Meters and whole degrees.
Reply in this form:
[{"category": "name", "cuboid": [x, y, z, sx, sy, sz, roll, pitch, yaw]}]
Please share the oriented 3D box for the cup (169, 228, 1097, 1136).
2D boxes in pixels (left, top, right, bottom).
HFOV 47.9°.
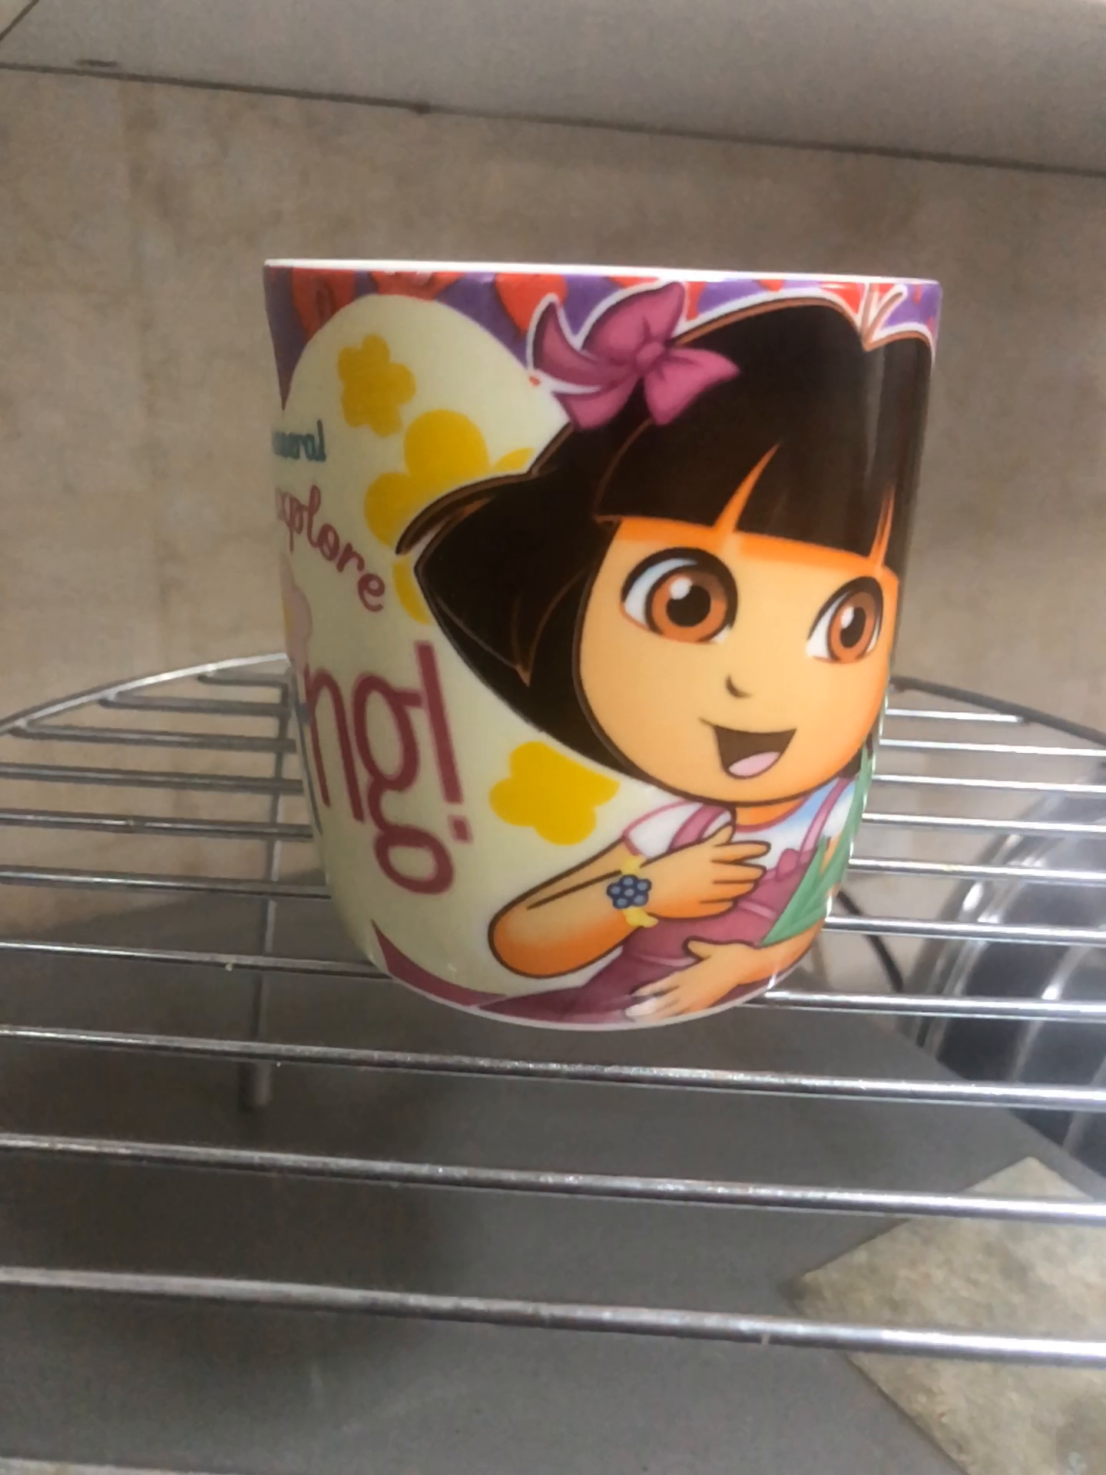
[{"category": "cup", "cuboid": [0.018, -0.023, 0.184, 0.070, 0.090, 0.120, 17, 25, 35]}]
